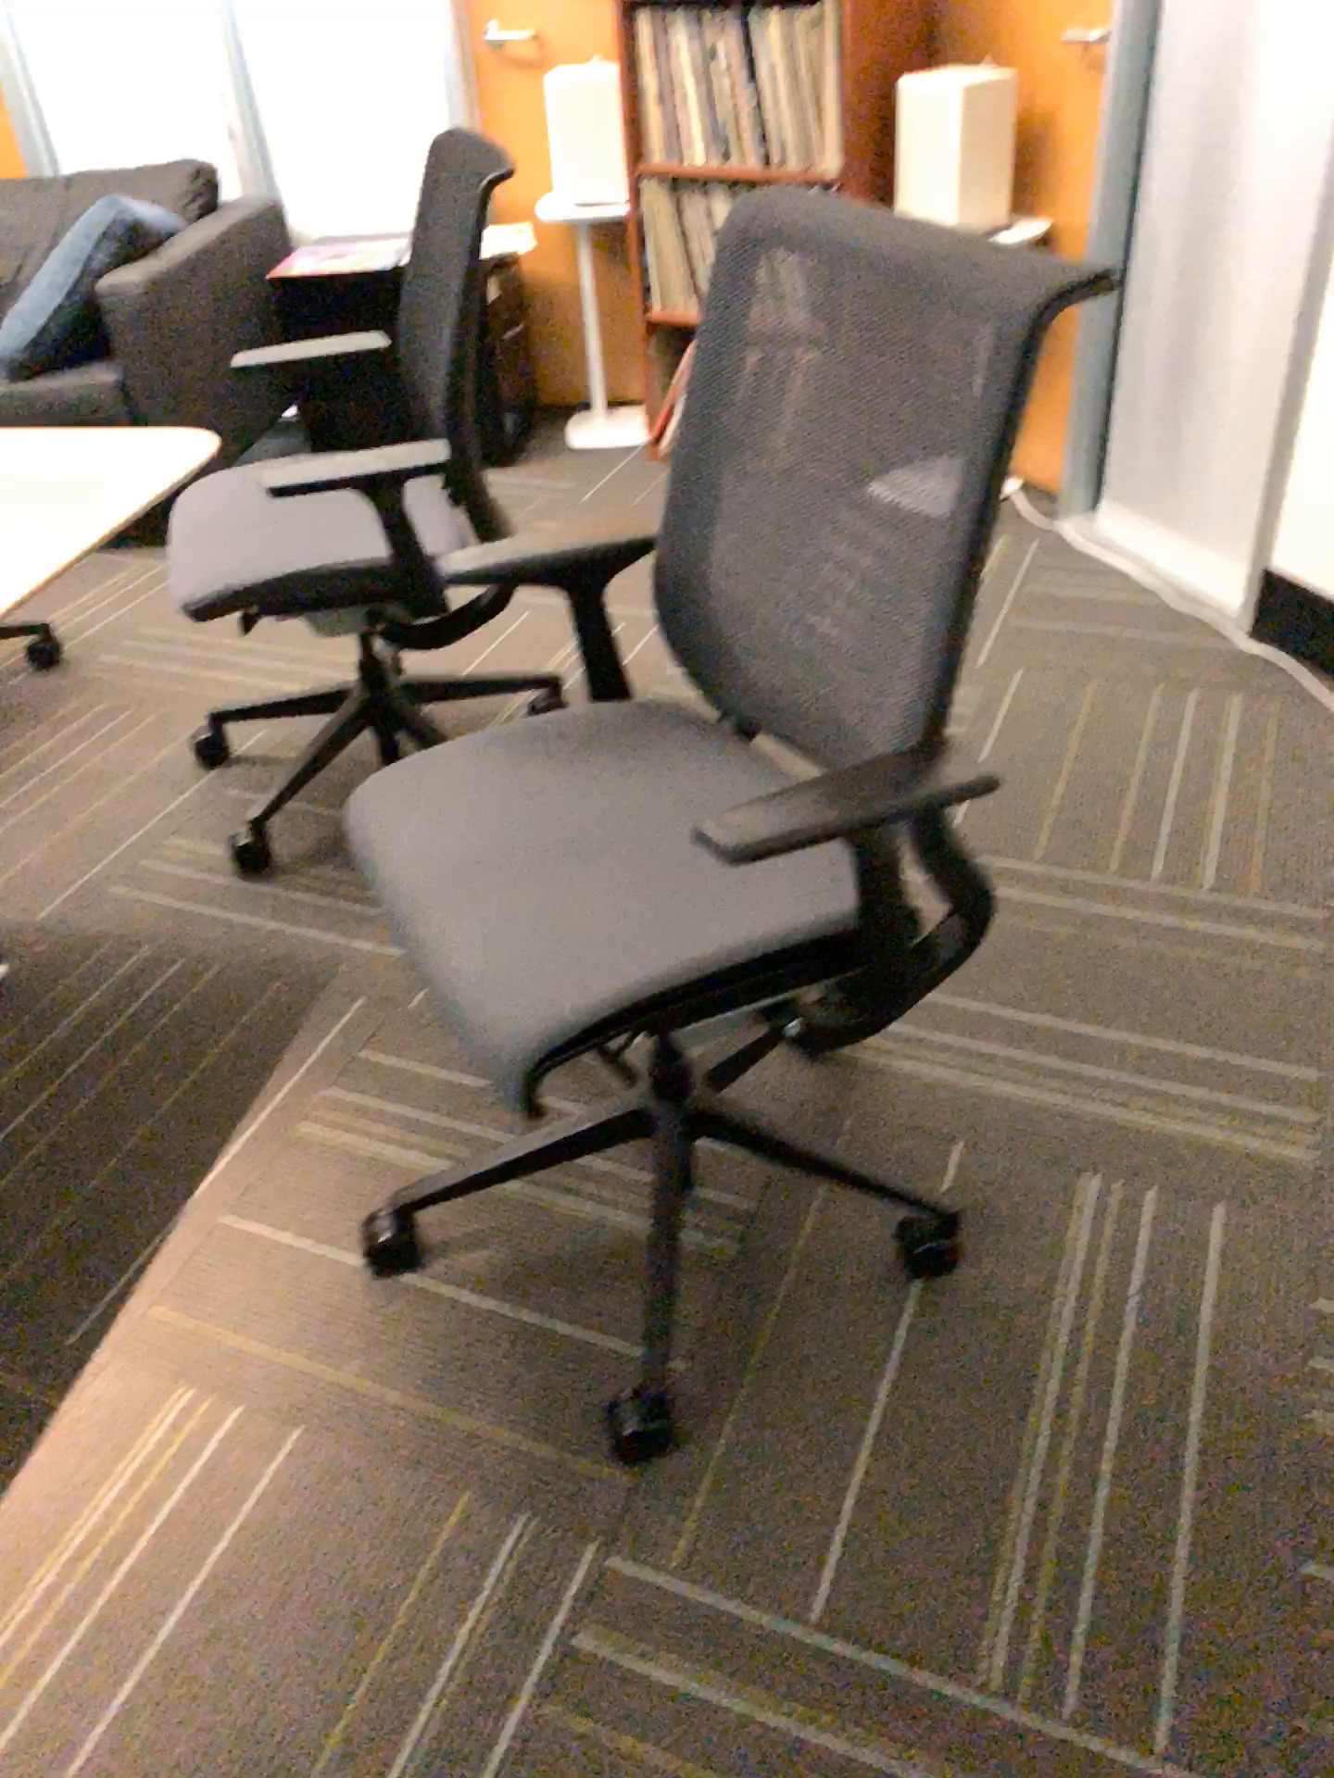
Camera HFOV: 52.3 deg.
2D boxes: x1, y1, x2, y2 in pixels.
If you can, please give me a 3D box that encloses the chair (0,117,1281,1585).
[{"bbox_3d":[-0.066,-0.090,1.443,0.800,1.113,0.795,-22,40,-21],"label":"chair"}]
